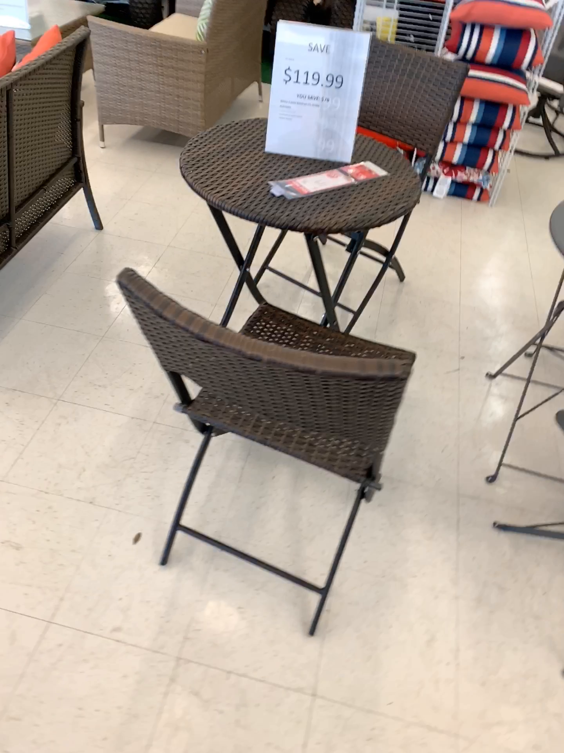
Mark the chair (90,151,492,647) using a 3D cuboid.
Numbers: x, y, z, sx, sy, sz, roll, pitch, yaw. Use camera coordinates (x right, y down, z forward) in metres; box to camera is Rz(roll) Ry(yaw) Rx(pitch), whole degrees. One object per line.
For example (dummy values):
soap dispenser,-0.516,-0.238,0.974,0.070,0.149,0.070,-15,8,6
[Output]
chair,0.025,0.063,1.176,0.480,0.766,0.512,20,46,14
